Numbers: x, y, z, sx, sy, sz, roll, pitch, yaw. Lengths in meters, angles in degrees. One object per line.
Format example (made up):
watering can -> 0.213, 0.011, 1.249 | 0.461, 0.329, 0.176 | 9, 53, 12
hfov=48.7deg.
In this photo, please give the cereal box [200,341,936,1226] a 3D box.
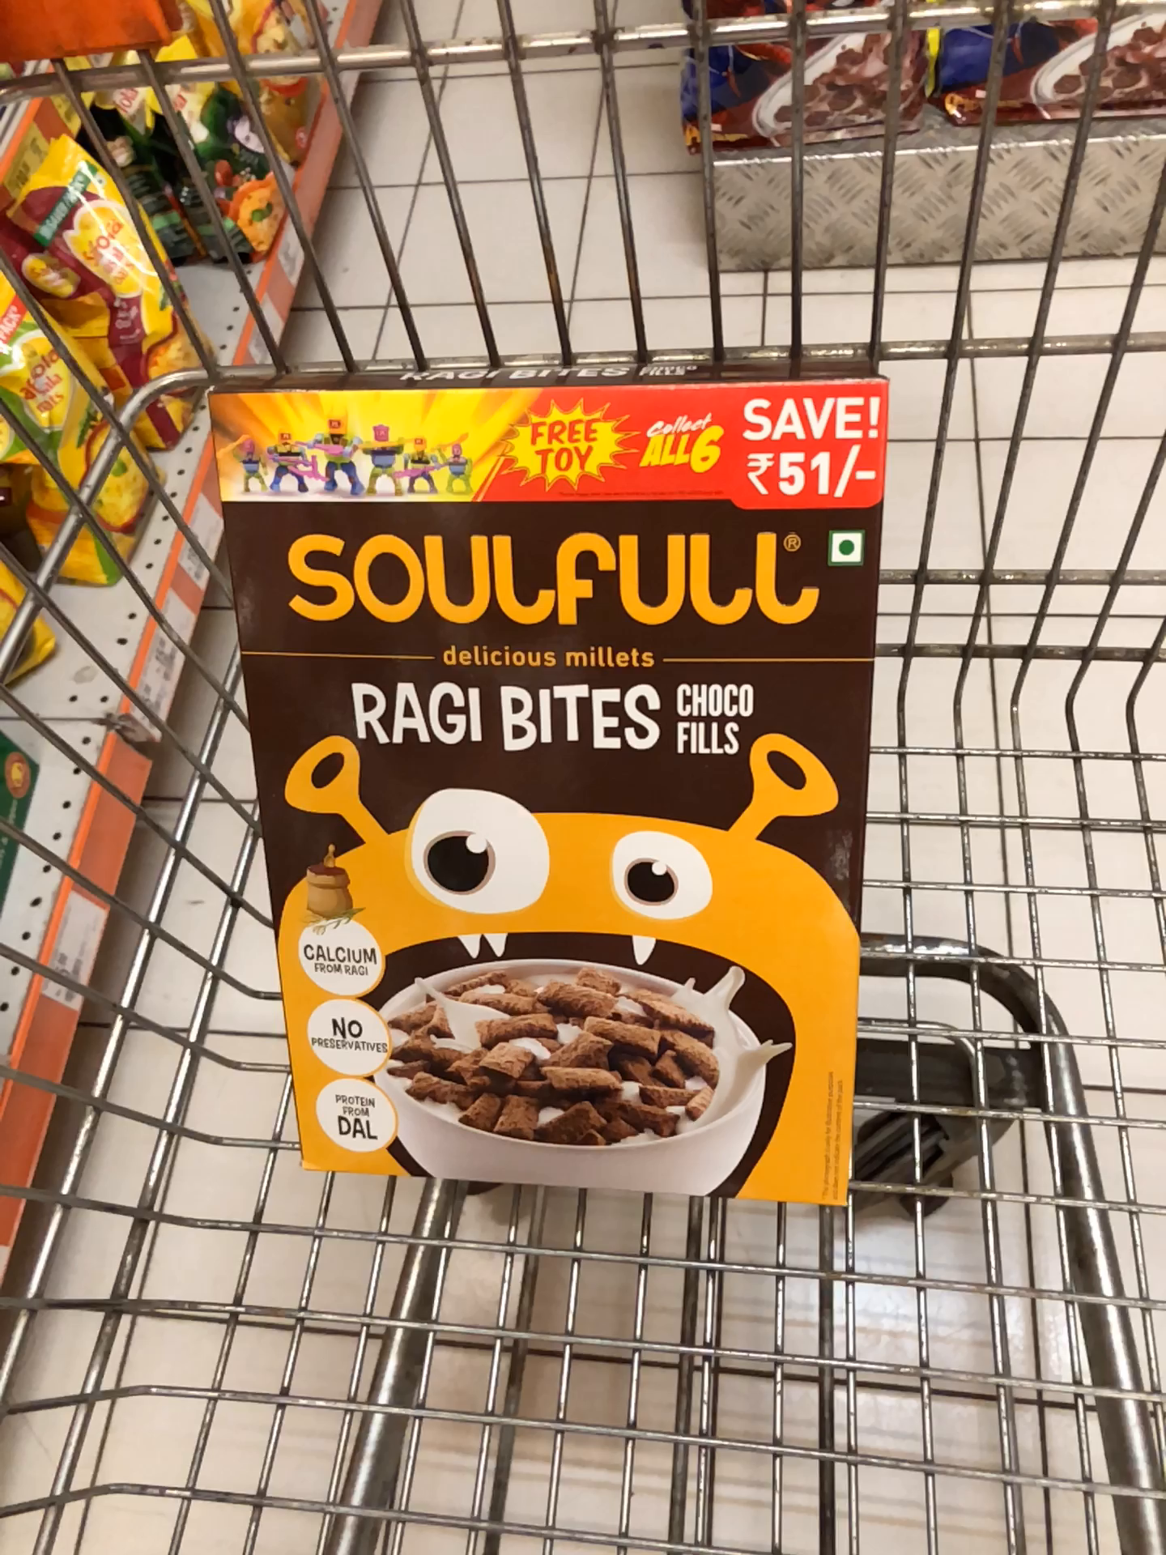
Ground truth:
cereal box -> 0.000, 0.003, 0.405 | 0.190, 0.259, 0.070 | 2, 21, 9
